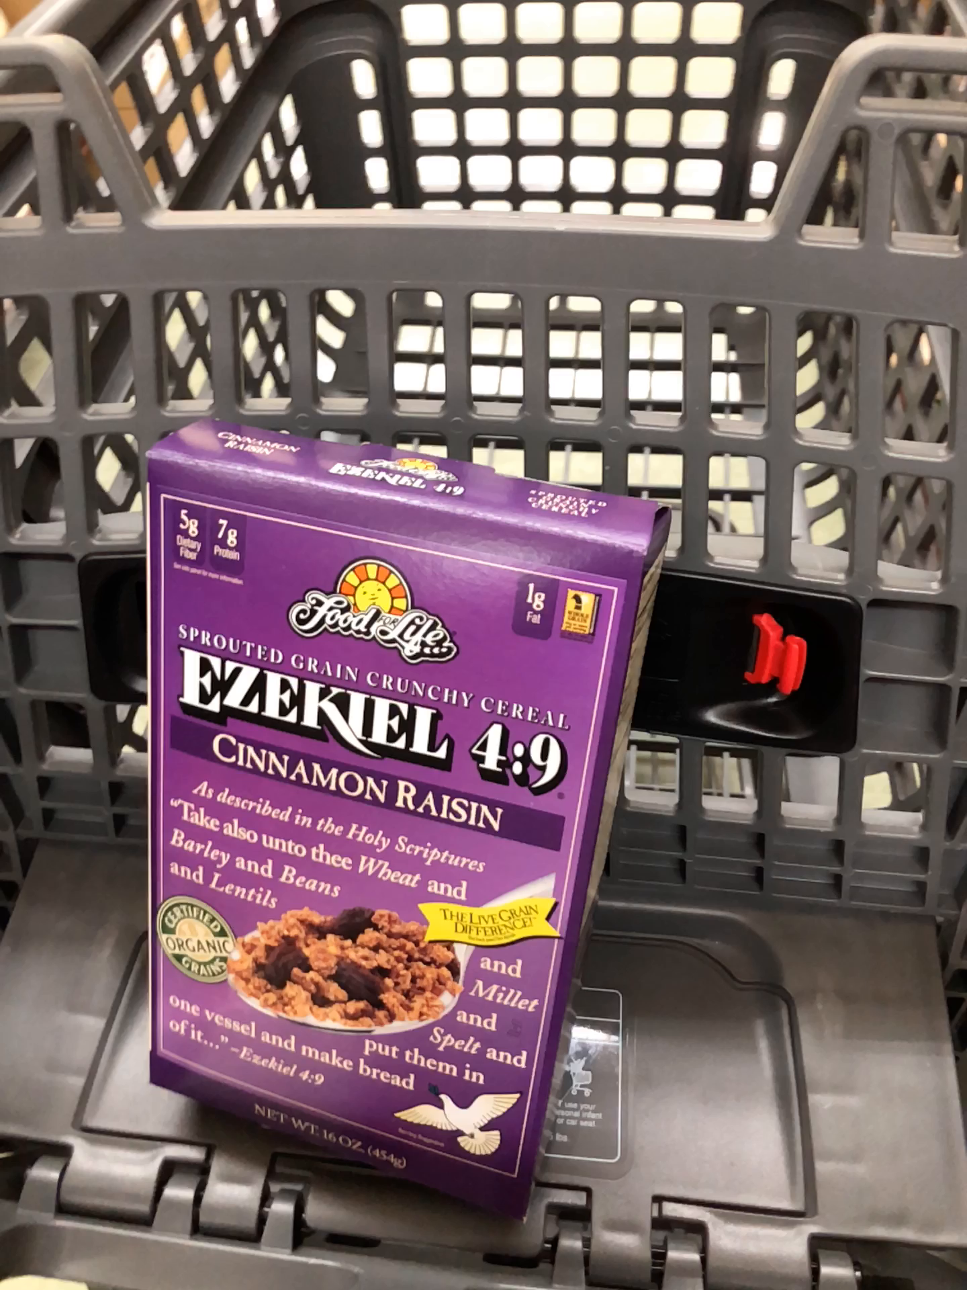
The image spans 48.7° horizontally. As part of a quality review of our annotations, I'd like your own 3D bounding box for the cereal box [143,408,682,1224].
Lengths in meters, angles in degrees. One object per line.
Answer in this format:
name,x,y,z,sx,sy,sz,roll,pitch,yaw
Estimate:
cereal box,-0.034,0.060,0.367,0.150,0.250,0.060,13,23,12
